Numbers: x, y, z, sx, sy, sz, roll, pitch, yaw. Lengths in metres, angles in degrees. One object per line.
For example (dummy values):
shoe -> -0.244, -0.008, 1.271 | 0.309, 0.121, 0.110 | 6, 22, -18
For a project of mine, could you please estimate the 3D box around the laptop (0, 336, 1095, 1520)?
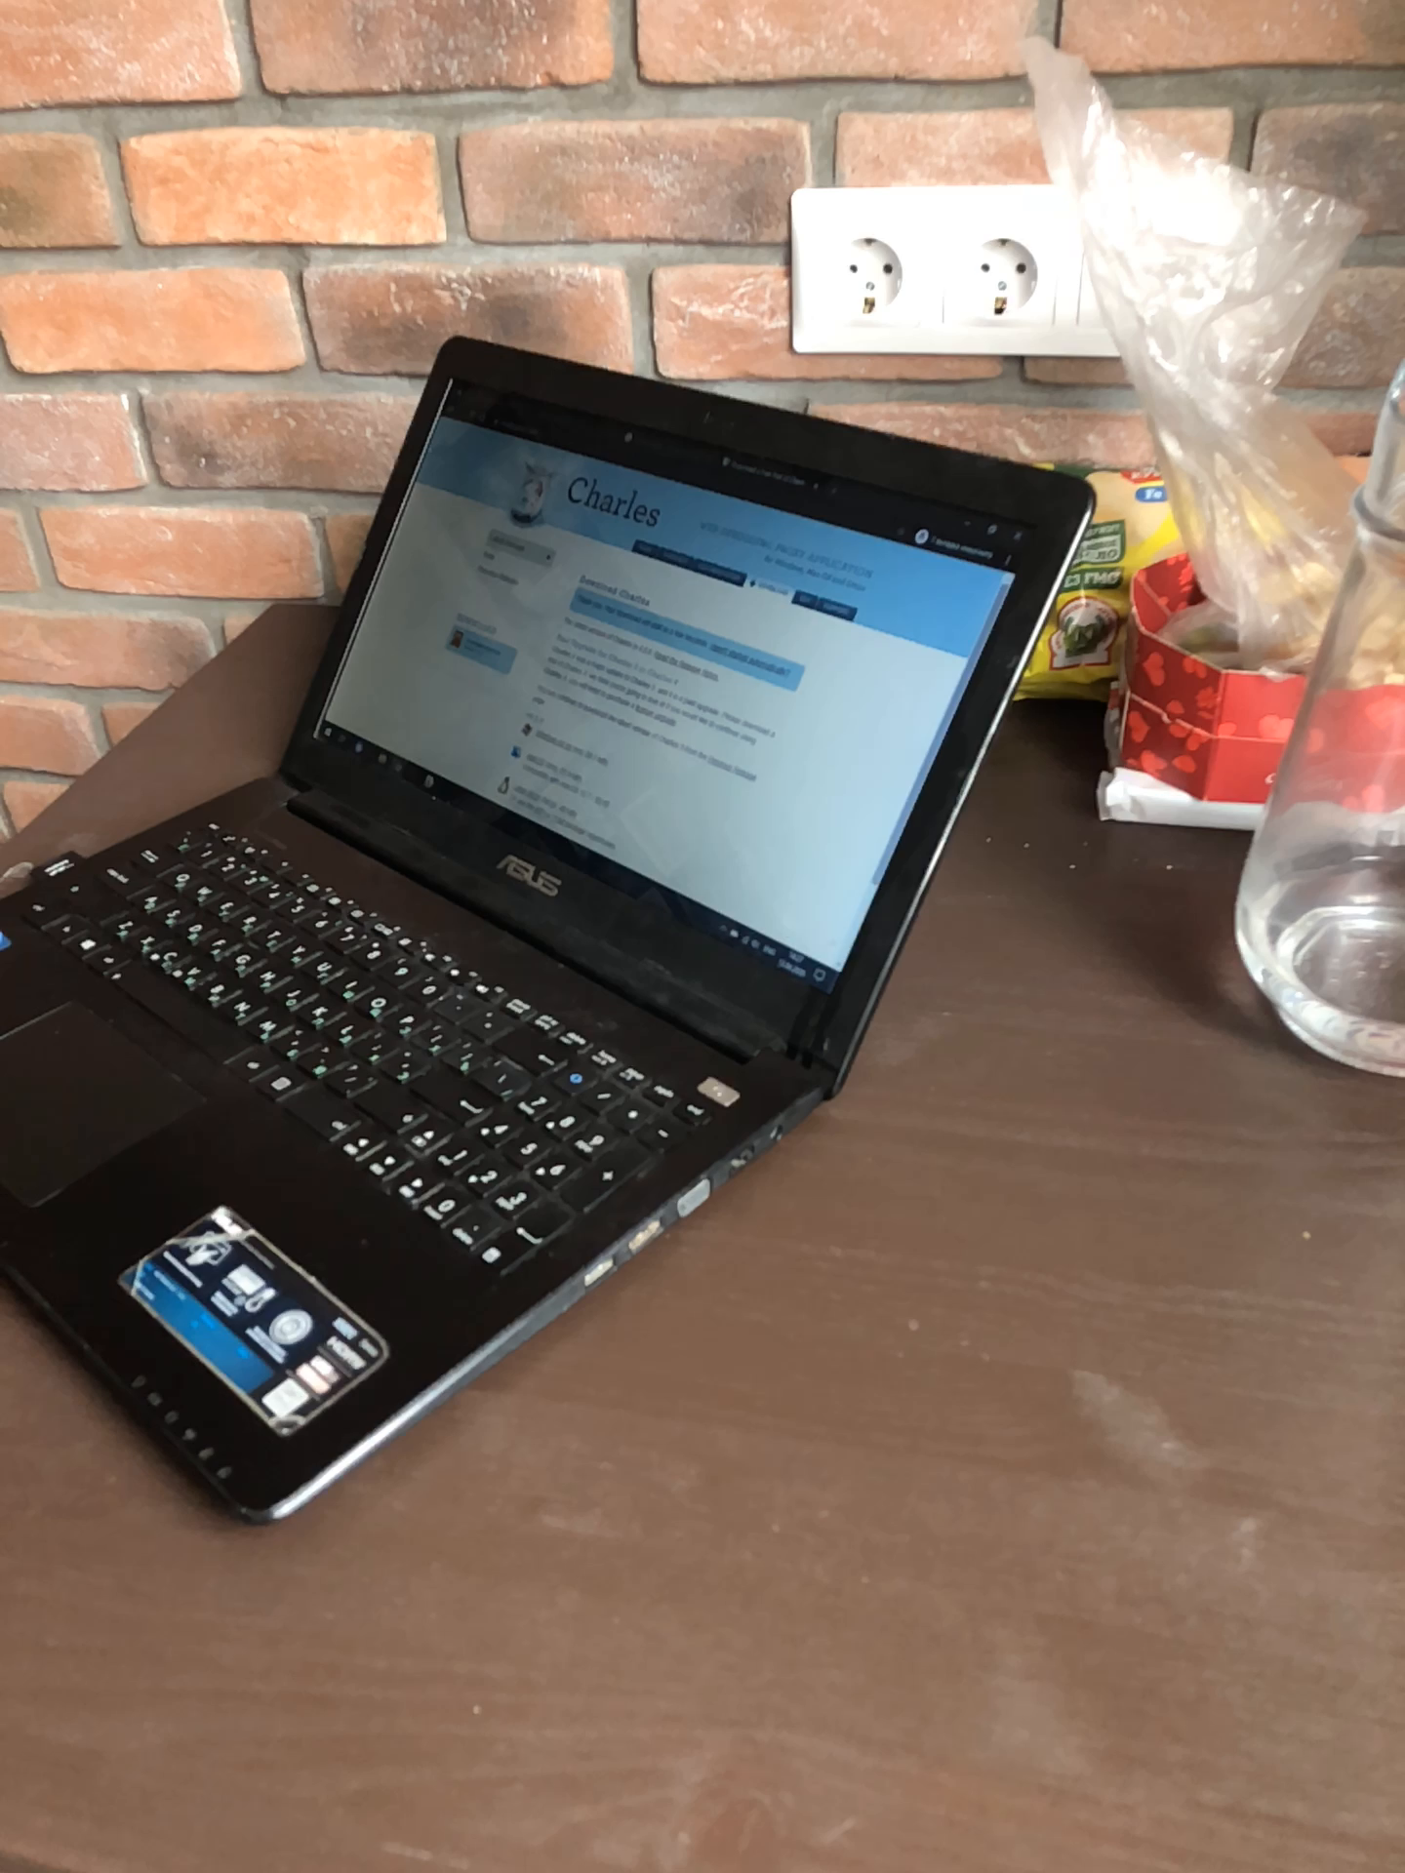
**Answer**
laptop -> -0.128, -0.069, 0.607 | 0.373, 0.186, 0.400 | 27, 45, 37
